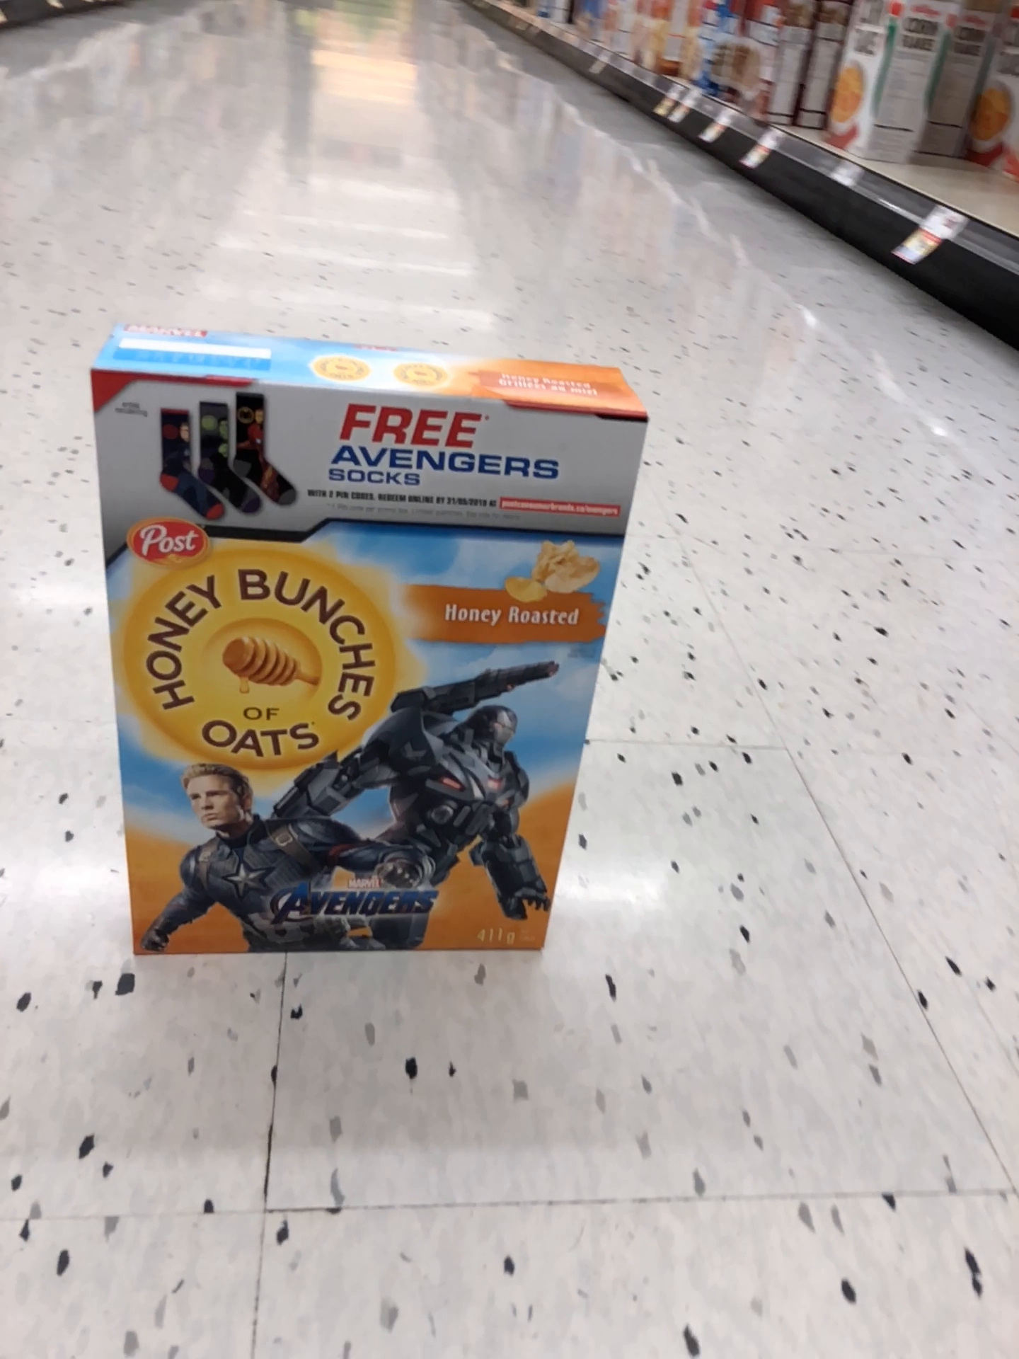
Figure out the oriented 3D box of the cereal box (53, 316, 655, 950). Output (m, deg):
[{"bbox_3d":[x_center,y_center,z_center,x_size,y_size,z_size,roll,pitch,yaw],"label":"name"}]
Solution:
[{"bbox_3d":[-0.068,-0.004,0.467,0.200,0.258,0.060,1,32,-11],"label":"cereal box"}]
